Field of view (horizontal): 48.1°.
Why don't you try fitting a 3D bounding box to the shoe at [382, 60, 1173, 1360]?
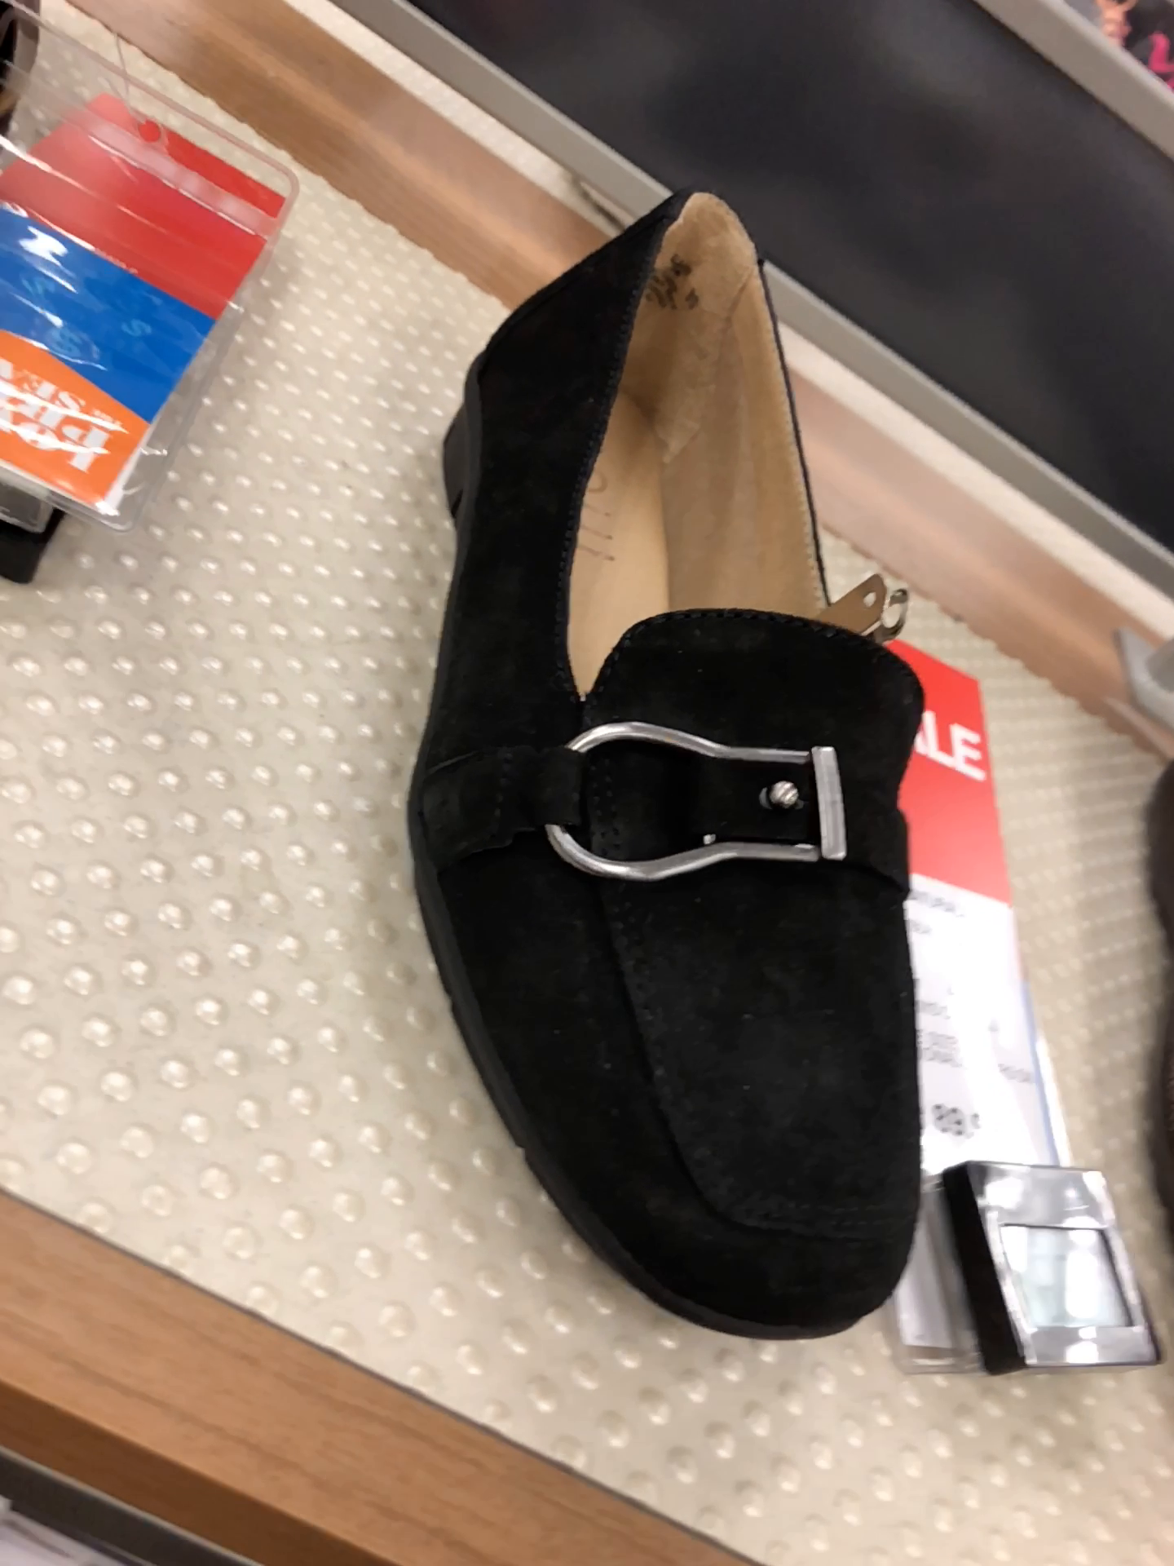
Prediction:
[{"bbox_3d":[0.018,-0.030,0.247,0.080,0.079,0.238,16,44,-28],"label":"shoe"}]
